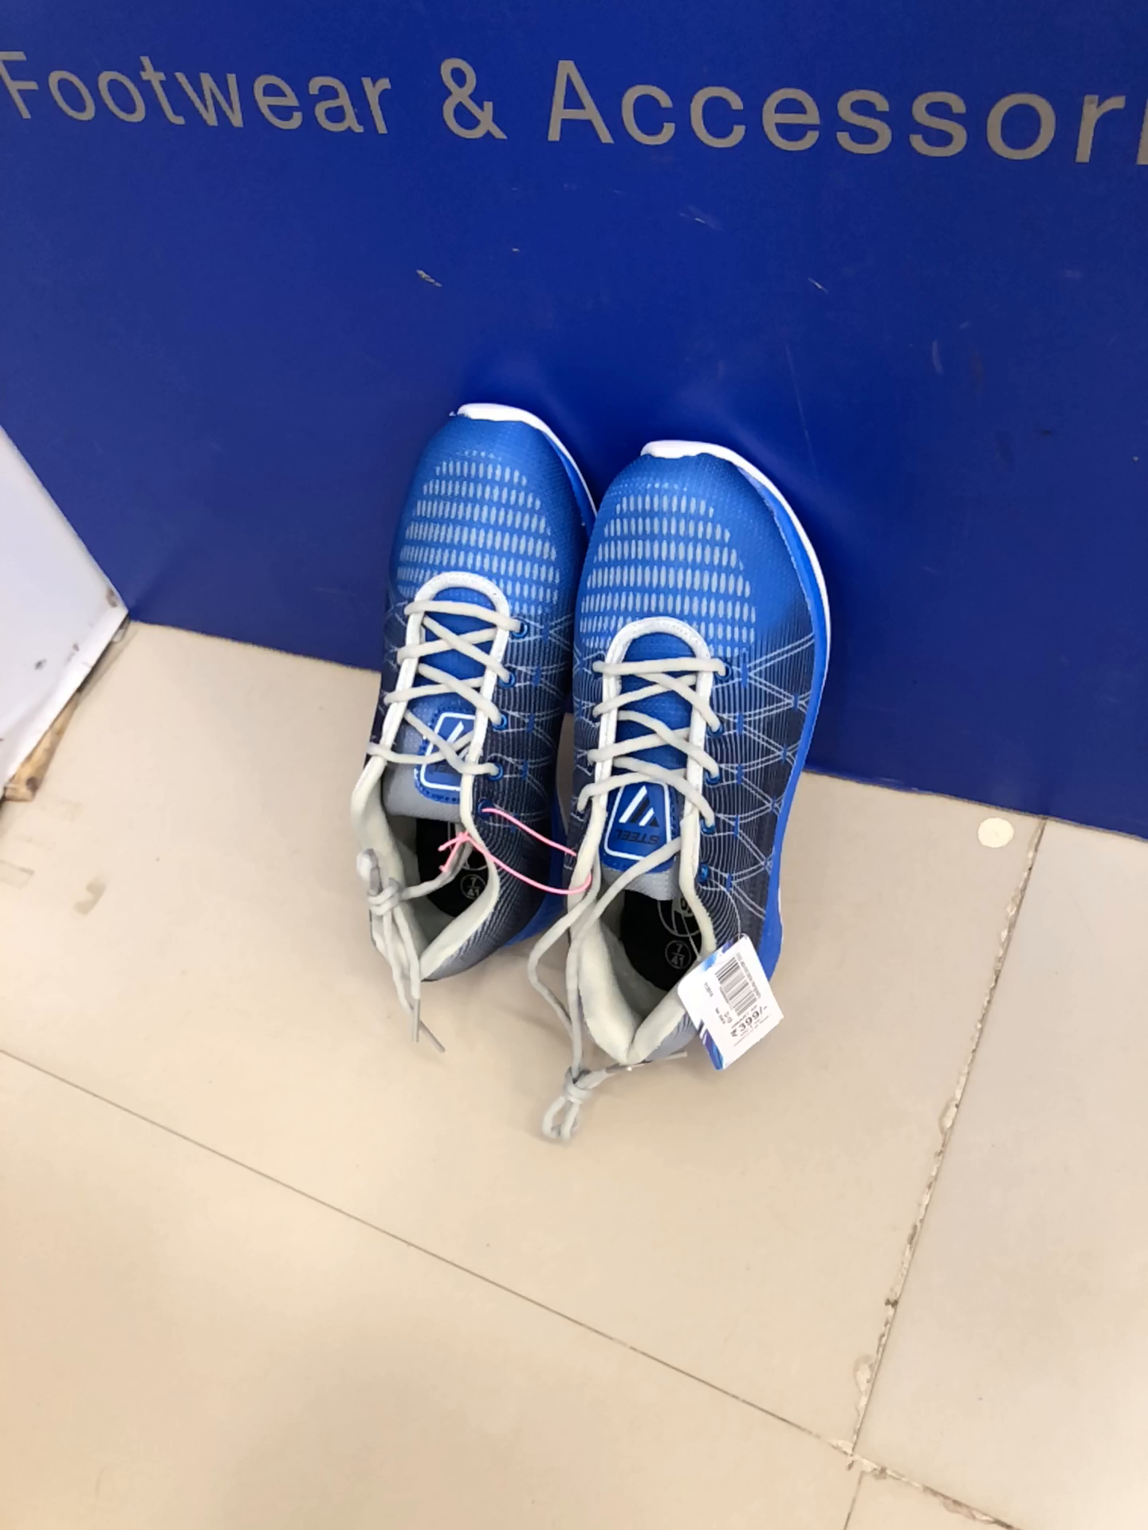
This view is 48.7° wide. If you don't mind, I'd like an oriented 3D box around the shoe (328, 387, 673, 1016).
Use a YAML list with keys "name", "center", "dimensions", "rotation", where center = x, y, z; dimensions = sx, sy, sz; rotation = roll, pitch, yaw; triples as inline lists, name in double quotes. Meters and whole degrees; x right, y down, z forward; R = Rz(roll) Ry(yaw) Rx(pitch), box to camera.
- name: "shoe"
  center: [-0.036, -0.035, 0.614]
  dimensions: [0.110, 0.269, 0.100]
  rotation: [11, 15, 19]

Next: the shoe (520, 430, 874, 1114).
- name: "shoe"
  center: [0.058, -0.003, 0.573]
  dimensions: [0.100, 0.120, 0.270]
  rotation: [8, 99, 23]
